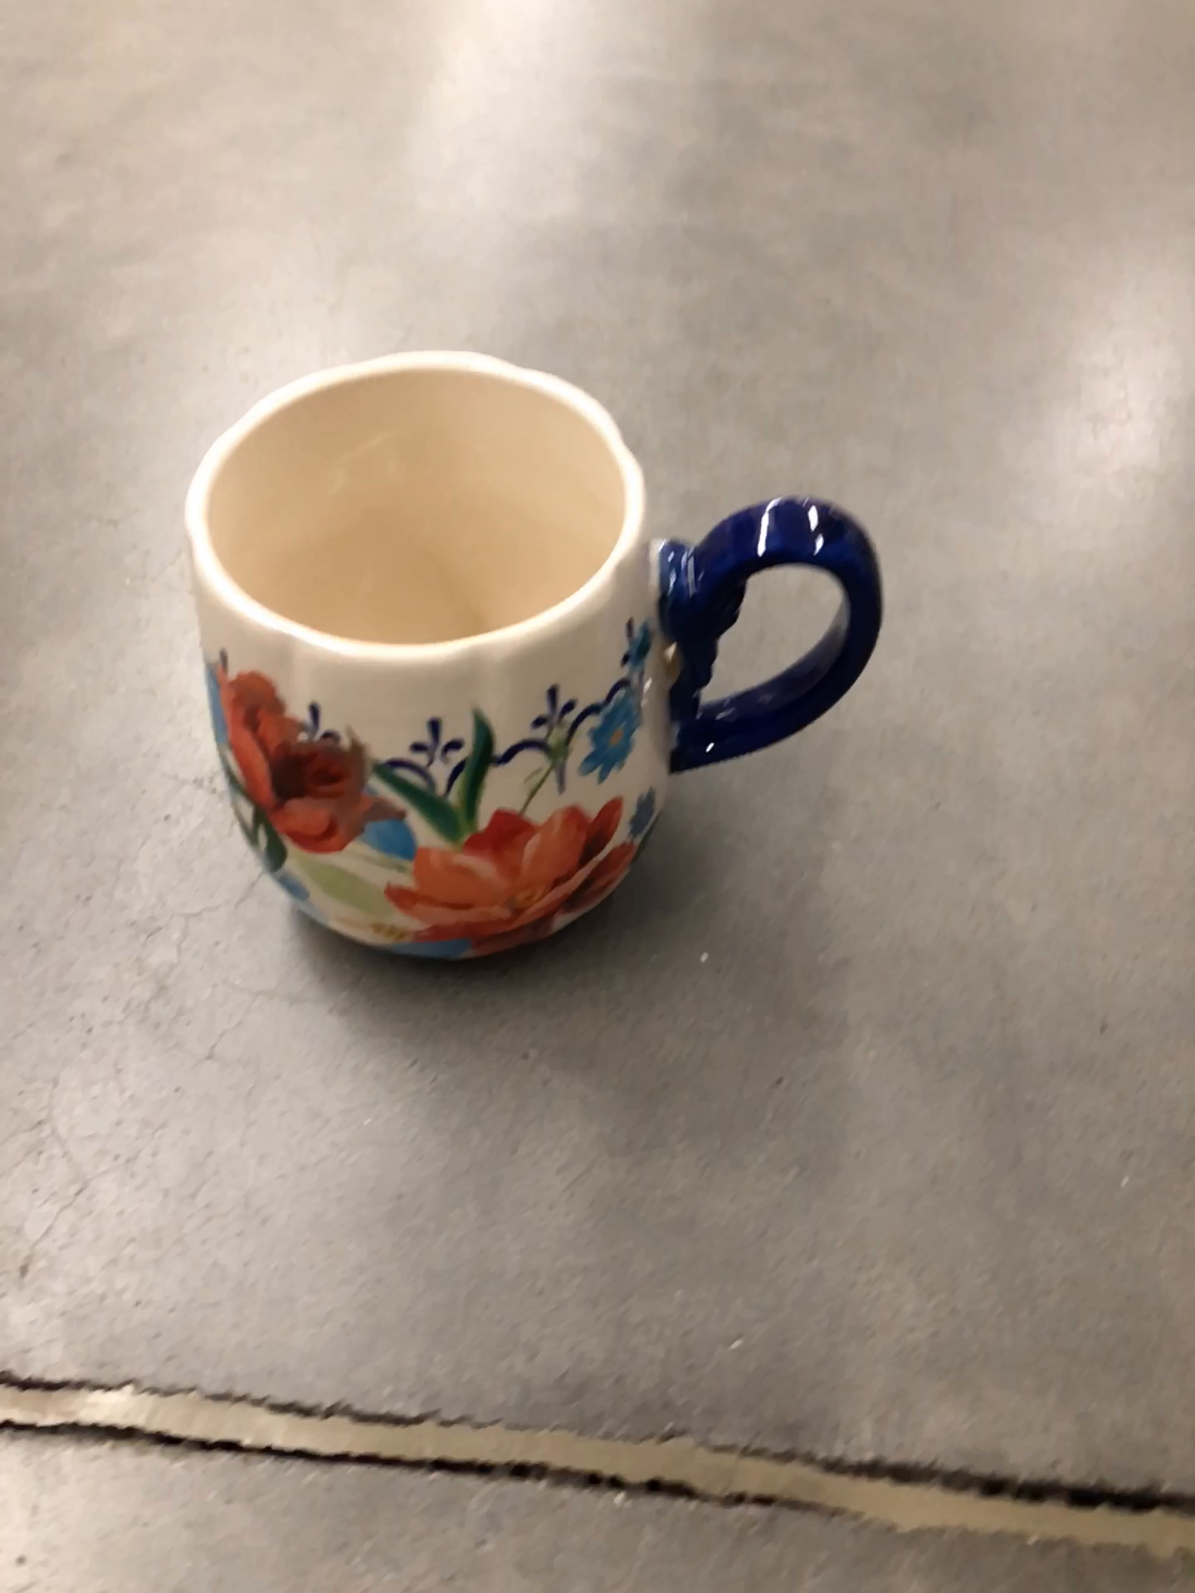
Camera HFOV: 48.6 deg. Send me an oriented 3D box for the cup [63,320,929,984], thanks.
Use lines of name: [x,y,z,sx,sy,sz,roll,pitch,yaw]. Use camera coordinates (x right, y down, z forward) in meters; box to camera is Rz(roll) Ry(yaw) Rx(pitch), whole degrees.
cup: [-0.016,-0.028,0.283,0.140,0.099,0.101,0,54,1]
